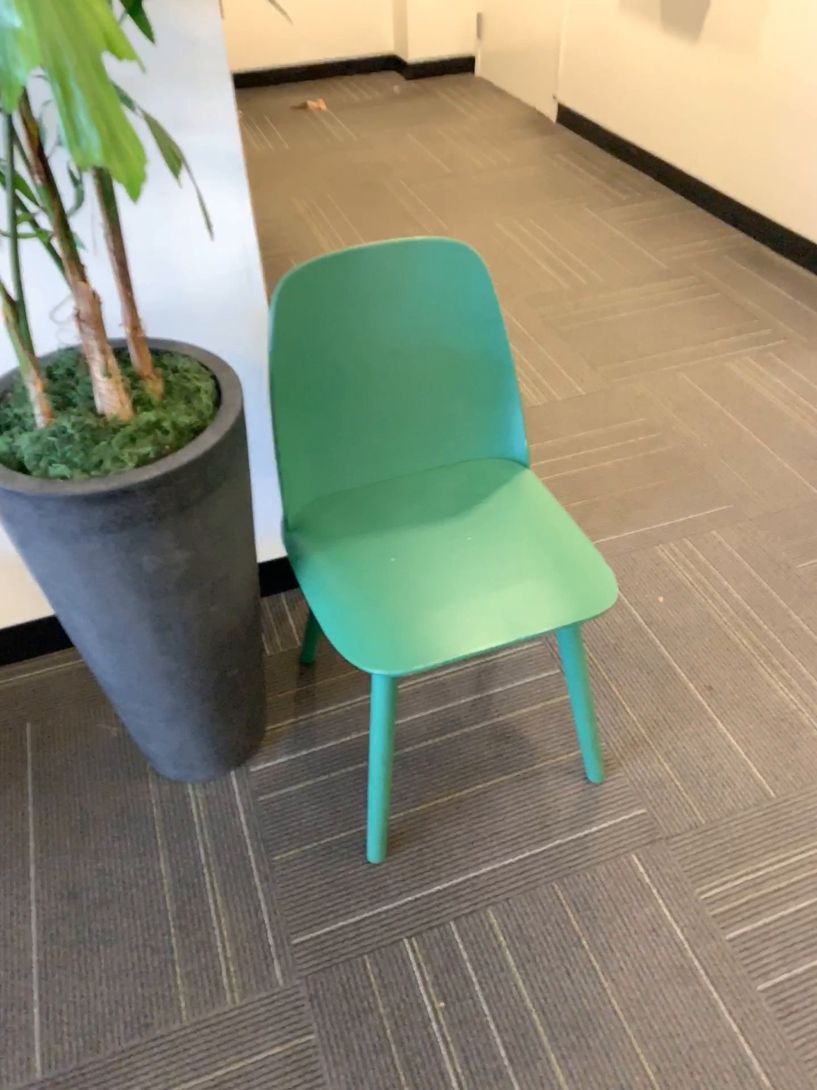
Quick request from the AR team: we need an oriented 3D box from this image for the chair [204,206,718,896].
[{"bbox_3d":[0.007,-0.025,1.210,0.390,0.626,0.714,-14,44,-12],"label":"chair"}]
